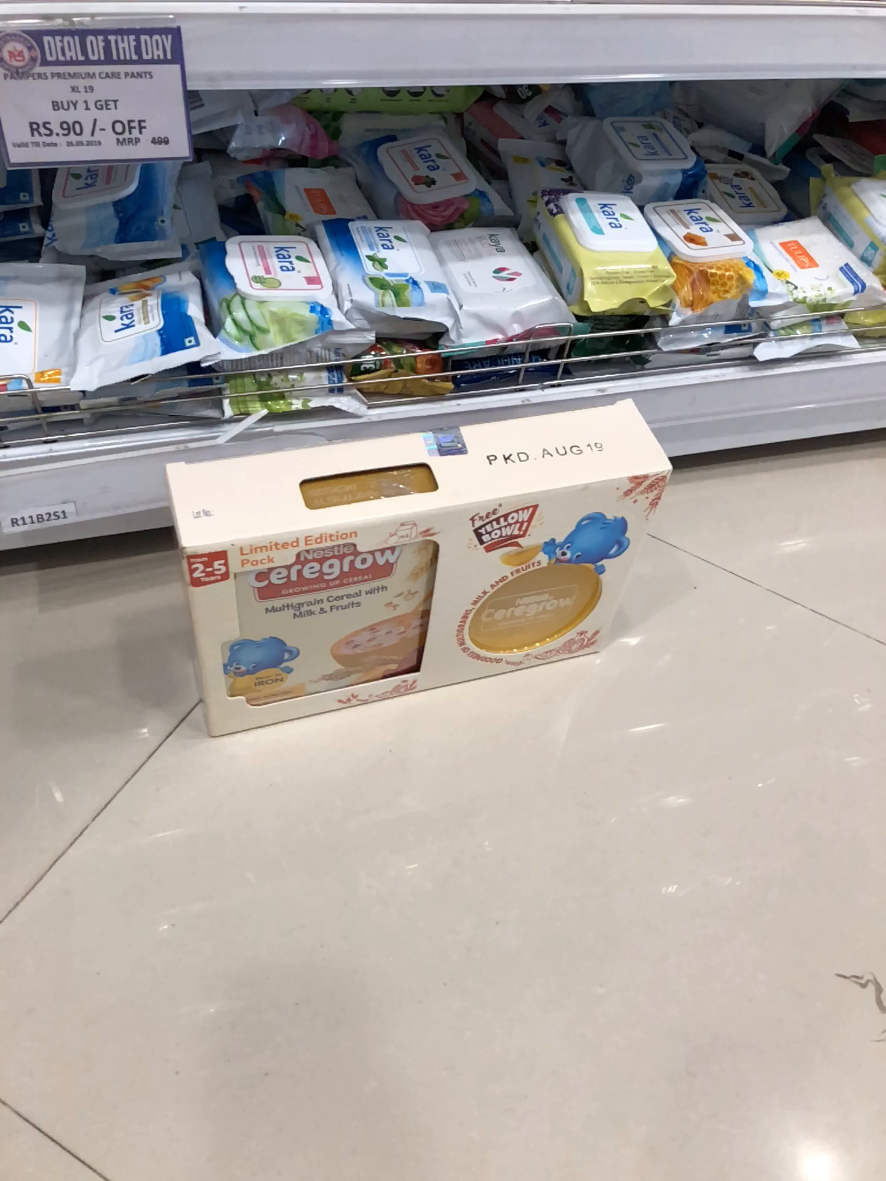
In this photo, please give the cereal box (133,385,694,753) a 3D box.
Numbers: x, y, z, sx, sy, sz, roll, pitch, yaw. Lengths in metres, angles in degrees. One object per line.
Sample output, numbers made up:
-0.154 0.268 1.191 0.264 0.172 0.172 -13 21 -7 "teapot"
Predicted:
-0.021 -0.011 0.630 0.311 0.209 0.070 -10 54 -15 "cereal box"
